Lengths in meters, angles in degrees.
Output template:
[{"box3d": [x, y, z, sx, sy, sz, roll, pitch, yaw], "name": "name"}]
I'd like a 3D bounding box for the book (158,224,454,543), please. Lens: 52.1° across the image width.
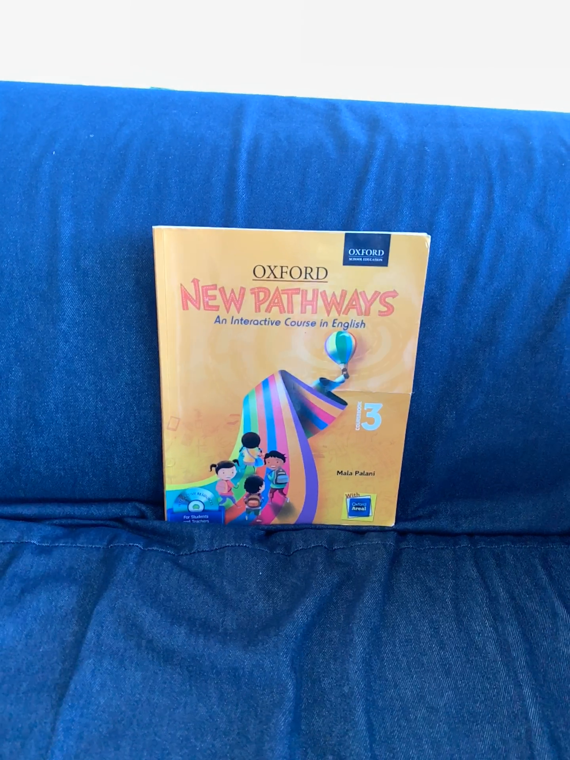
[{"box3d": [0.010, 0.015, 0.515, 0.230, 0.283, 0.030, 2, 21, -4], "name": "book"}]
